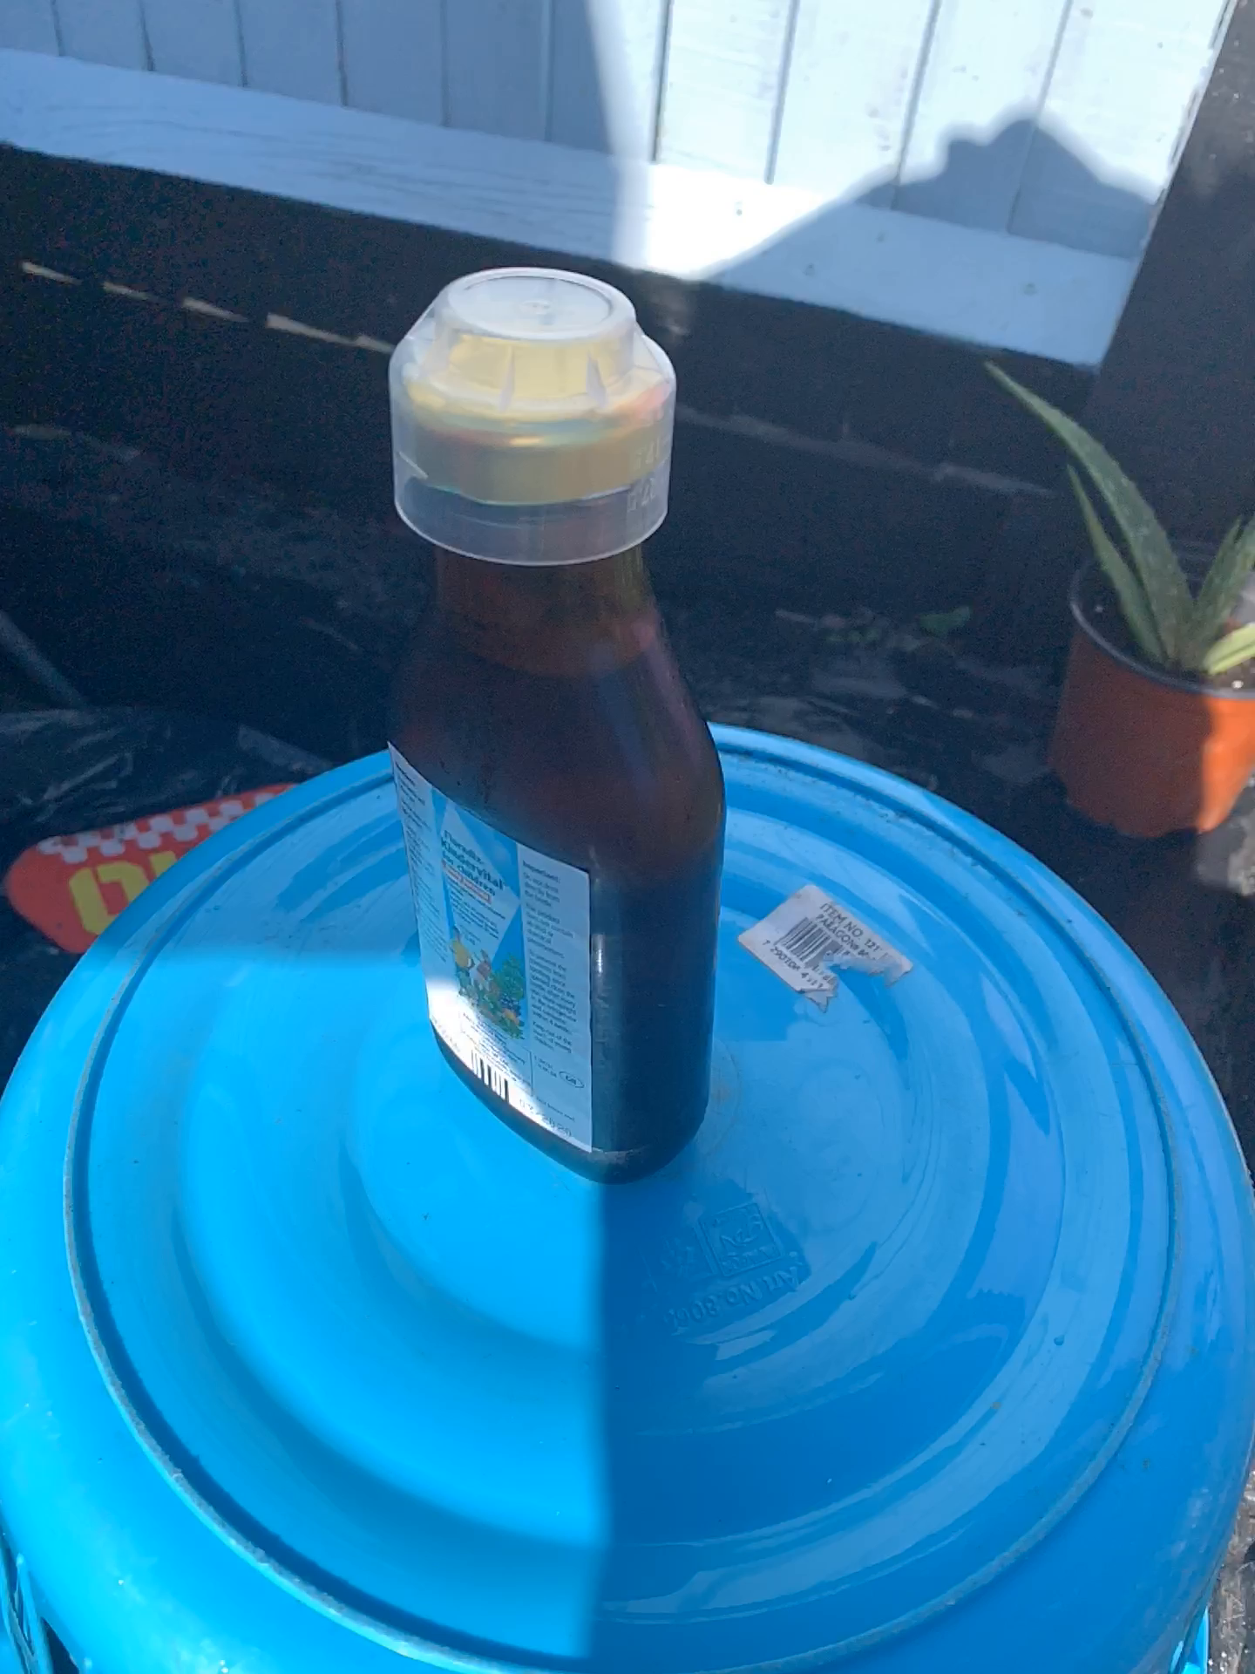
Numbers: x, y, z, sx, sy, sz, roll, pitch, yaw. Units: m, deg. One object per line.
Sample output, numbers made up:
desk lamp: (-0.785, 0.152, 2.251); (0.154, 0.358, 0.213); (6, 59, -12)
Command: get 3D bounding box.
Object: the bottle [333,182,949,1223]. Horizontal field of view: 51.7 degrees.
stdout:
bottle: (-0.007, -0.012, 0.266); (0.080, 0.198, 0.050); (31, 49, 23)
